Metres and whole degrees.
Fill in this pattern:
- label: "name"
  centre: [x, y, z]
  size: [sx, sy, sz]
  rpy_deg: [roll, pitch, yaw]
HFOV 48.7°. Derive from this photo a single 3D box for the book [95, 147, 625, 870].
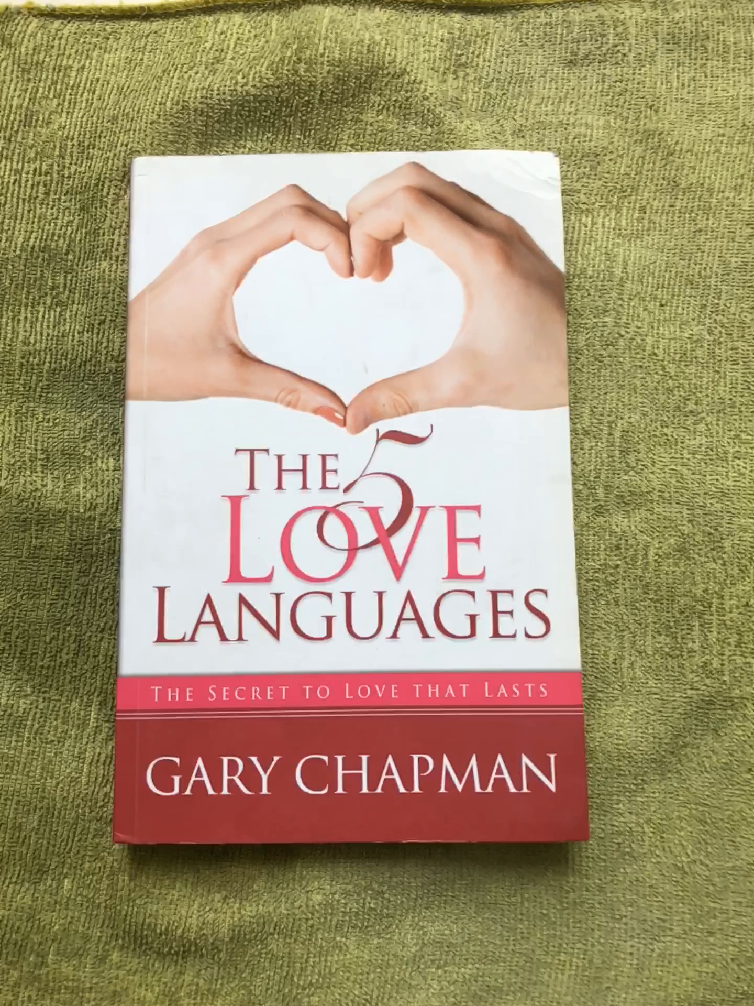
- label: "book"
  centre: [-0.007, -0.002, 0.247]
  size: [0.140, 0.030, 0.200]
  rpy_deg: [-1, 83, 0]
